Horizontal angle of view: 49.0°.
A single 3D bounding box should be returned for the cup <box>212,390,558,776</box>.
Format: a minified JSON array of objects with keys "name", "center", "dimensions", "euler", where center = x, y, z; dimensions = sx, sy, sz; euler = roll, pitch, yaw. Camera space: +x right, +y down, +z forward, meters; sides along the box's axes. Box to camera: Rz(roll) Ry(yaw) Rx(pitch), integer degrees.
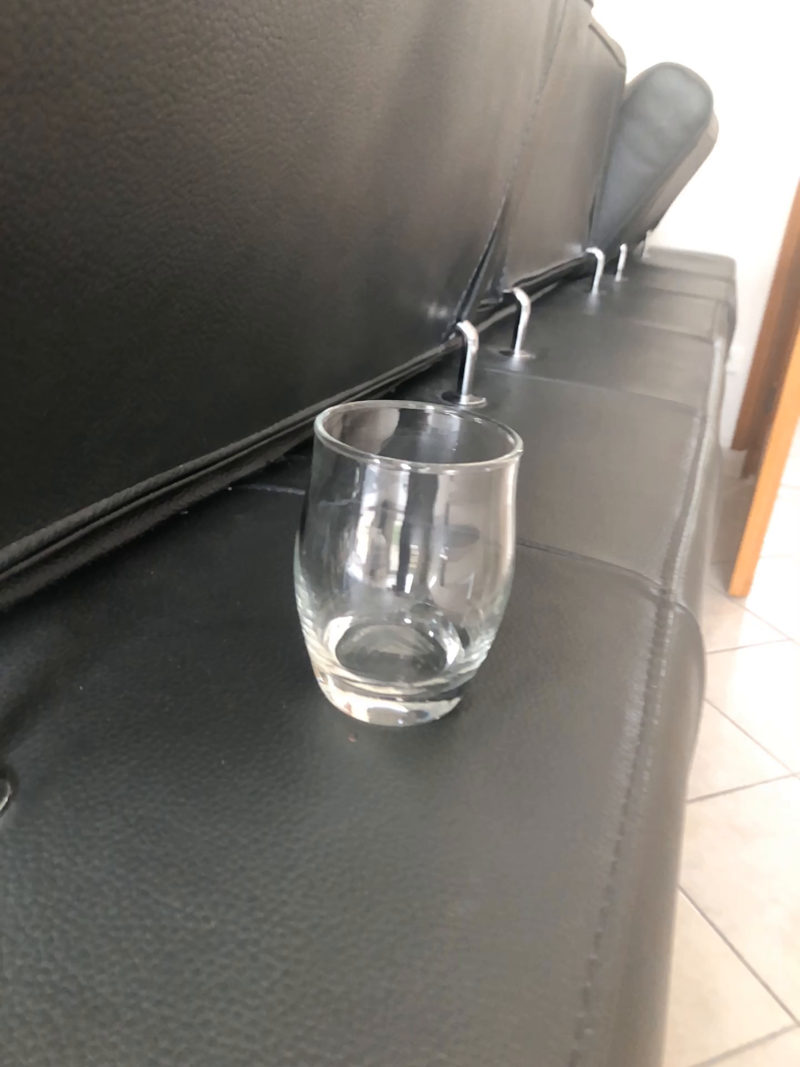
[{"name":"cup","center":[-0.005,0.010,0.299],"dimensions":[0.080,0.090,0.081],"euler":[6,23,-2]}]
